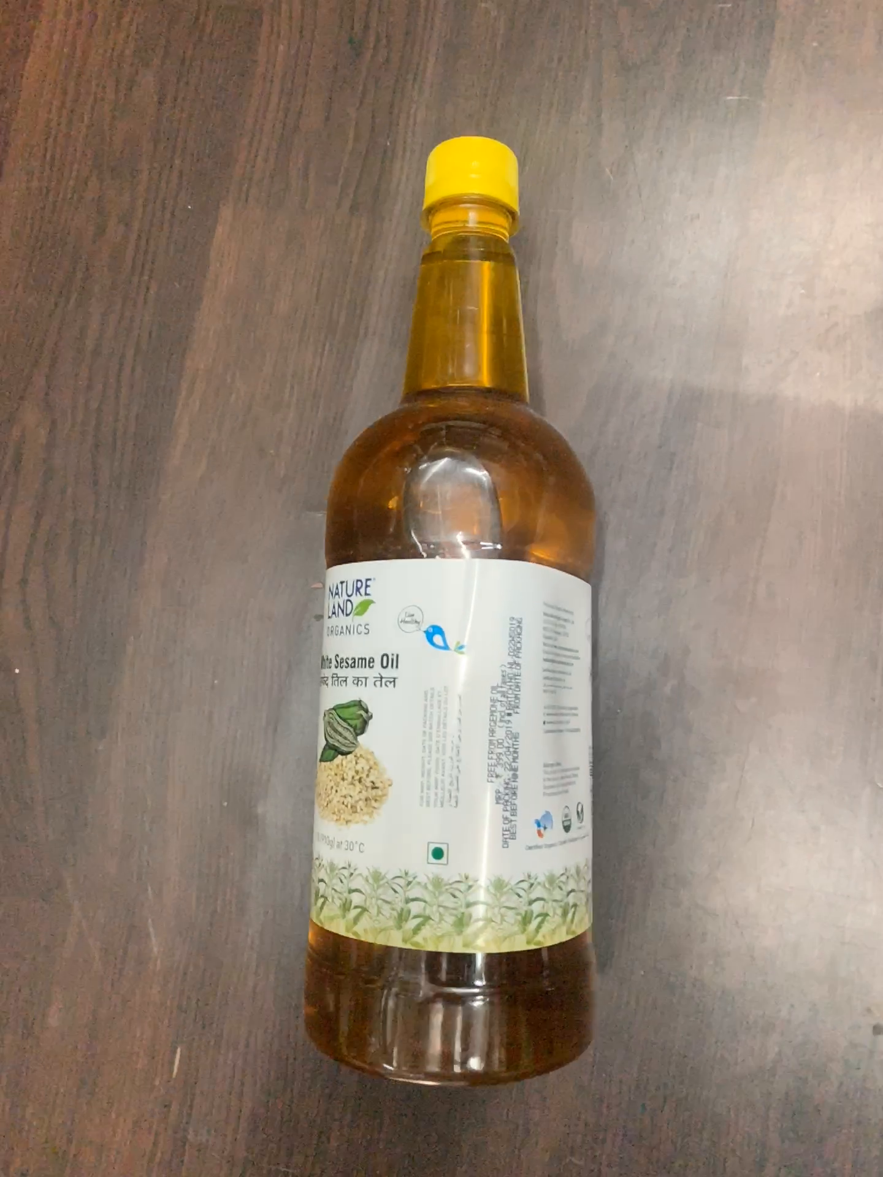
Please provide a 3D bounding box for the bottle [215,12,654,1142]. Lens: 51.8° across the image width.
[{"bbox_3d":[0.001,-0.006,0.273,0.080,0.090,0.270,-8,77,53],"label":"bottle"}]
